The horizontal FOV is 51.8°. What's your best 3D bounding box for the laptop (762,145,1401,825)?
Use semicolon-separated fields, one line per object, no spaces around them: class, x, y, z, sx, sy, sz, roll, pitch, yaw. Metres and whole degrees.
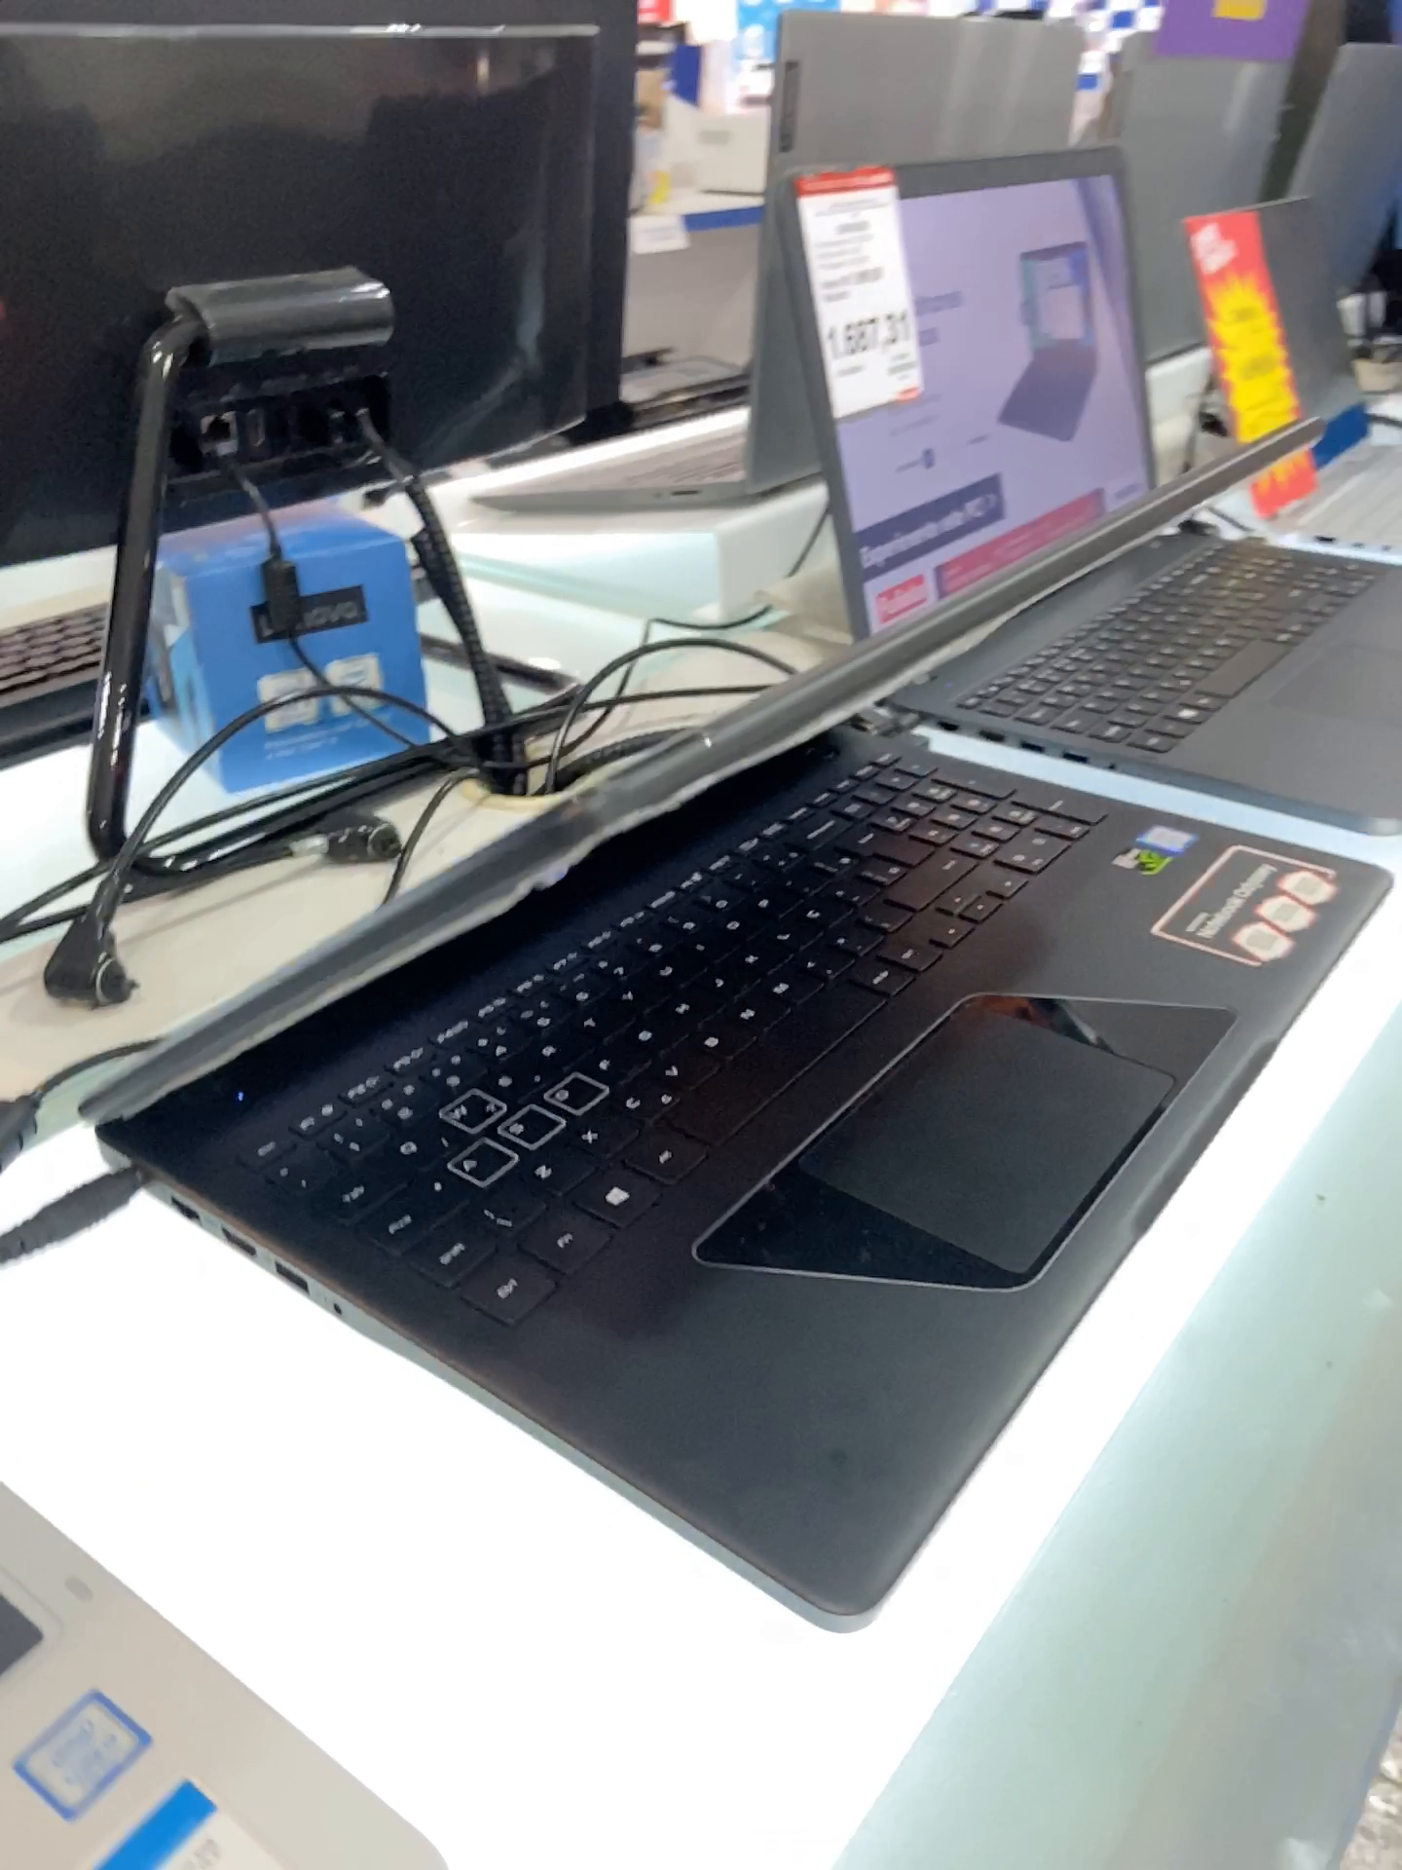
laptop;0.272;-0.268;0.742;0.307;0.234;0.414;19;34;32

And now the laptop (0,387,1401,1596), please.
laptop;0.034;-0.050;0.434;0.258;0.152;0.369;19;35;33

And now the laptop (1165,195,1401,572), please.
laptop;0.570;-0.436;1.097;0.299;0.202;0.308;18;36;31

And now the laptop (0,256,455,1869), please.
laptop;-0.308;0.099;0.116;0.345;0.223;0.433;20;37;32
